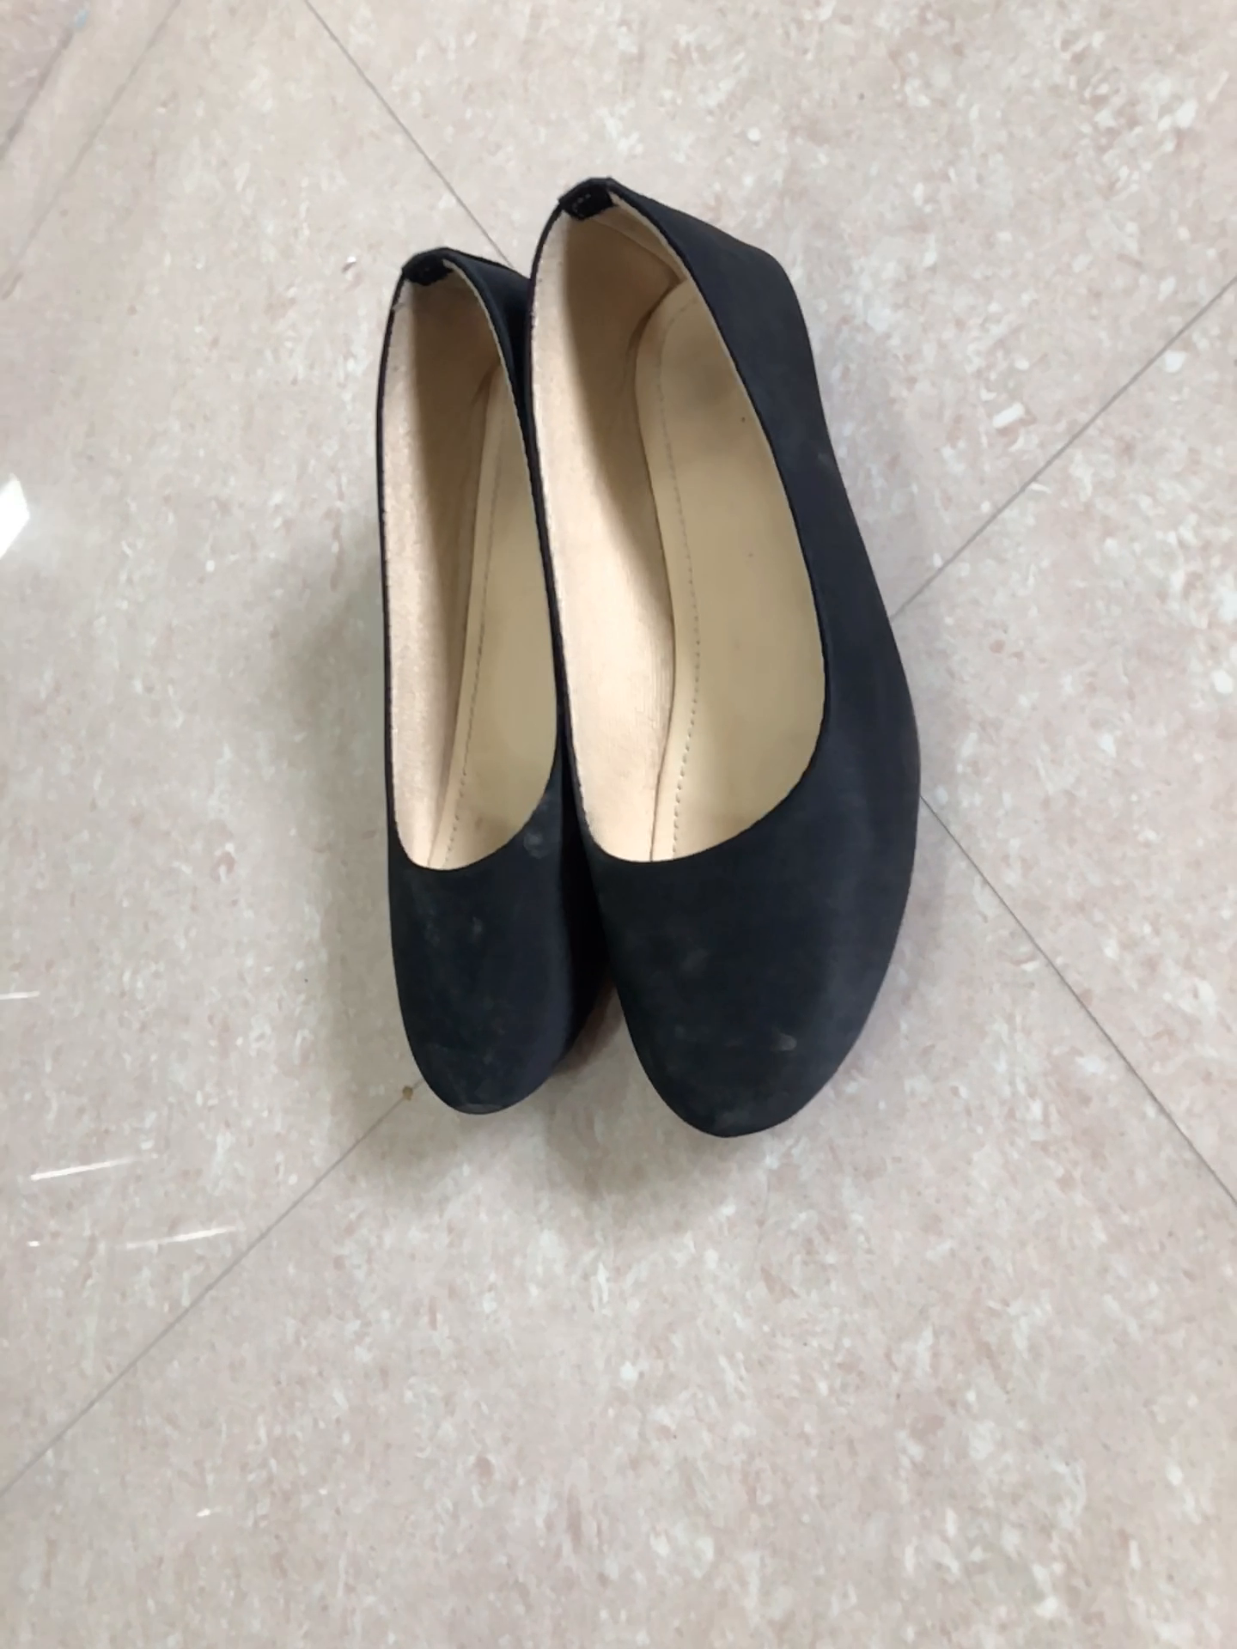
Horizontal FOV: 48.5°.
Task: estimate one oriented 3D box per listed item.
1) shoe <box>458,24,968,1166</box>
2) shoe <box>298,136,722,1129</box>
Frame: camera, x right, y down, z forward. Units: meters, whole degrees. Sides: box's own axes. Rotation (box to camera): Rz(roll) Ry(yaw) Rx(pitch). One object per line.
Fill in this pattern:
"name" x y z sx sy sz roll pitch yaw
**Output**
"shoe" 0.017 -0.048 0.334 0.090 0.060 0.250 -13 73 38
"shoe" -0.028 -0.046 0.385 0.090 0.060 0.250 -5 78 40
